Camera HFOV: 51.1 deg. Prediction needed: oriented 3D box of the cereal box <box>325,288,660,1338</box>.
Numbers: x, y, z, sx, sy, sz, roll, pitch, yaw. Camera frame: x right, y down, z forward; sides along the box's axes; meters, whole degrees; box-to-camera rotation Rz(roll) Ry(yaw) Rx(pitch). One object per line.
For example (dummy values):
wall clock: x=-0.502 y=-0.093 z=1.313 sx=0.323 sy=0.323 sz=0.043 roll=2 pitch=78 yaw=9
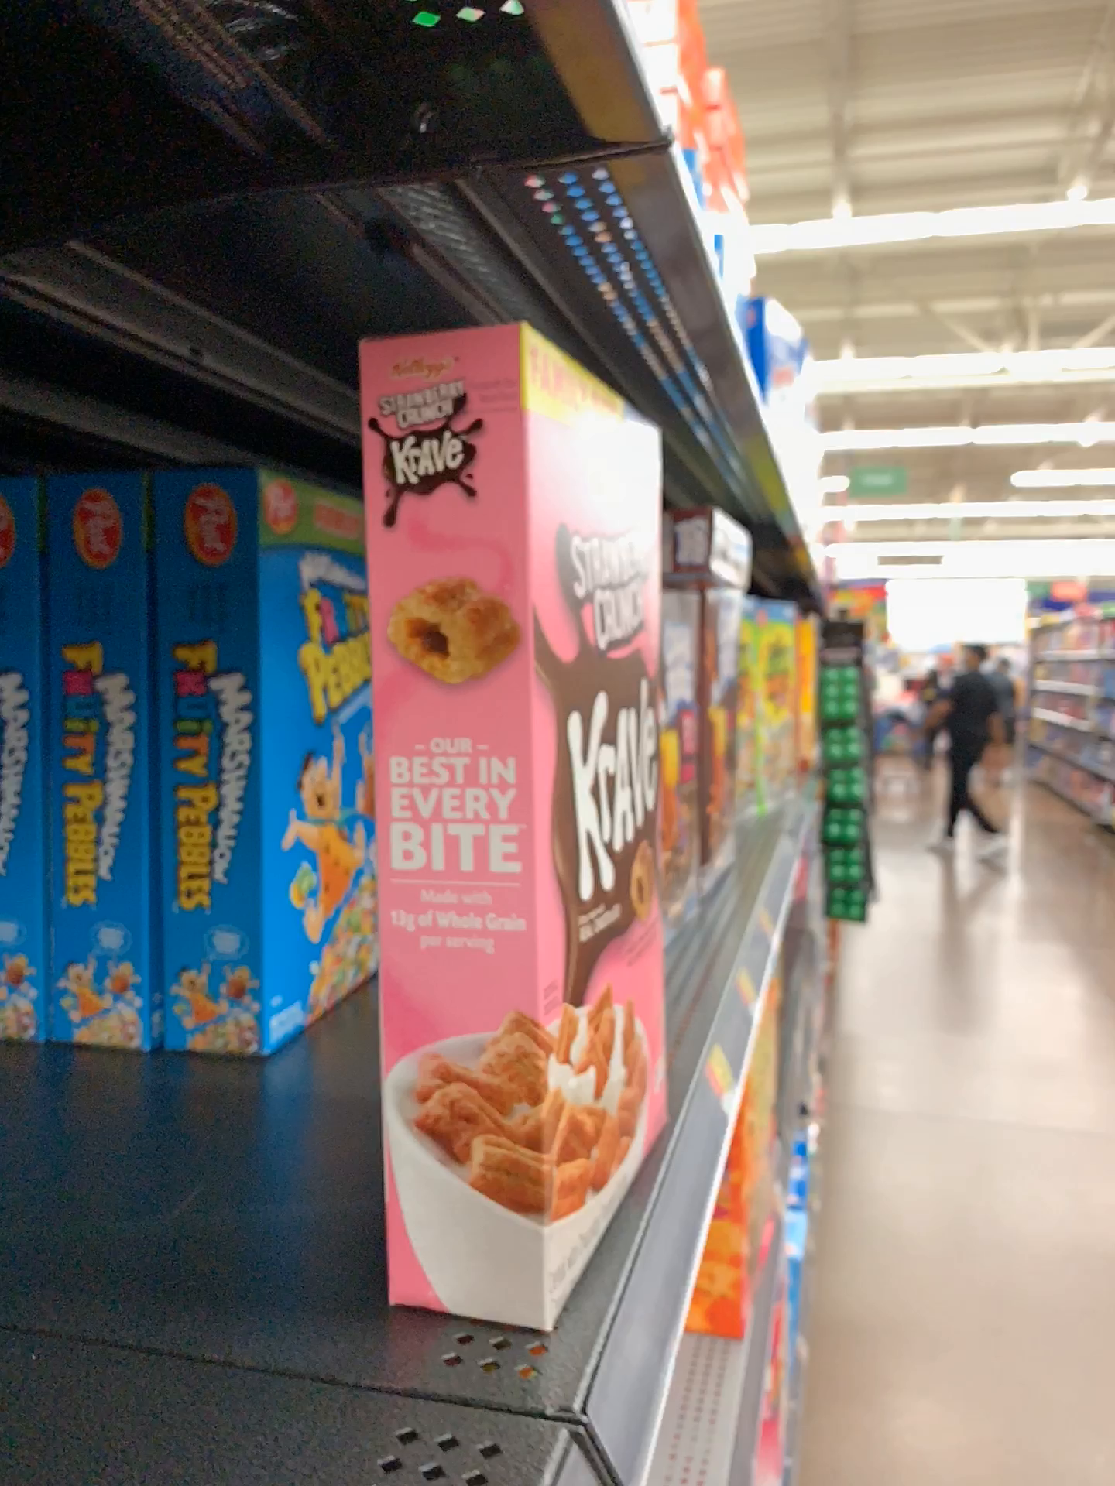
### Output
cereal box: x=-0.013 y=0.019 z=0.468 sx=0.060 sy=0.330 sz=0.200 roll=-1 pitch=3 yaw=17
